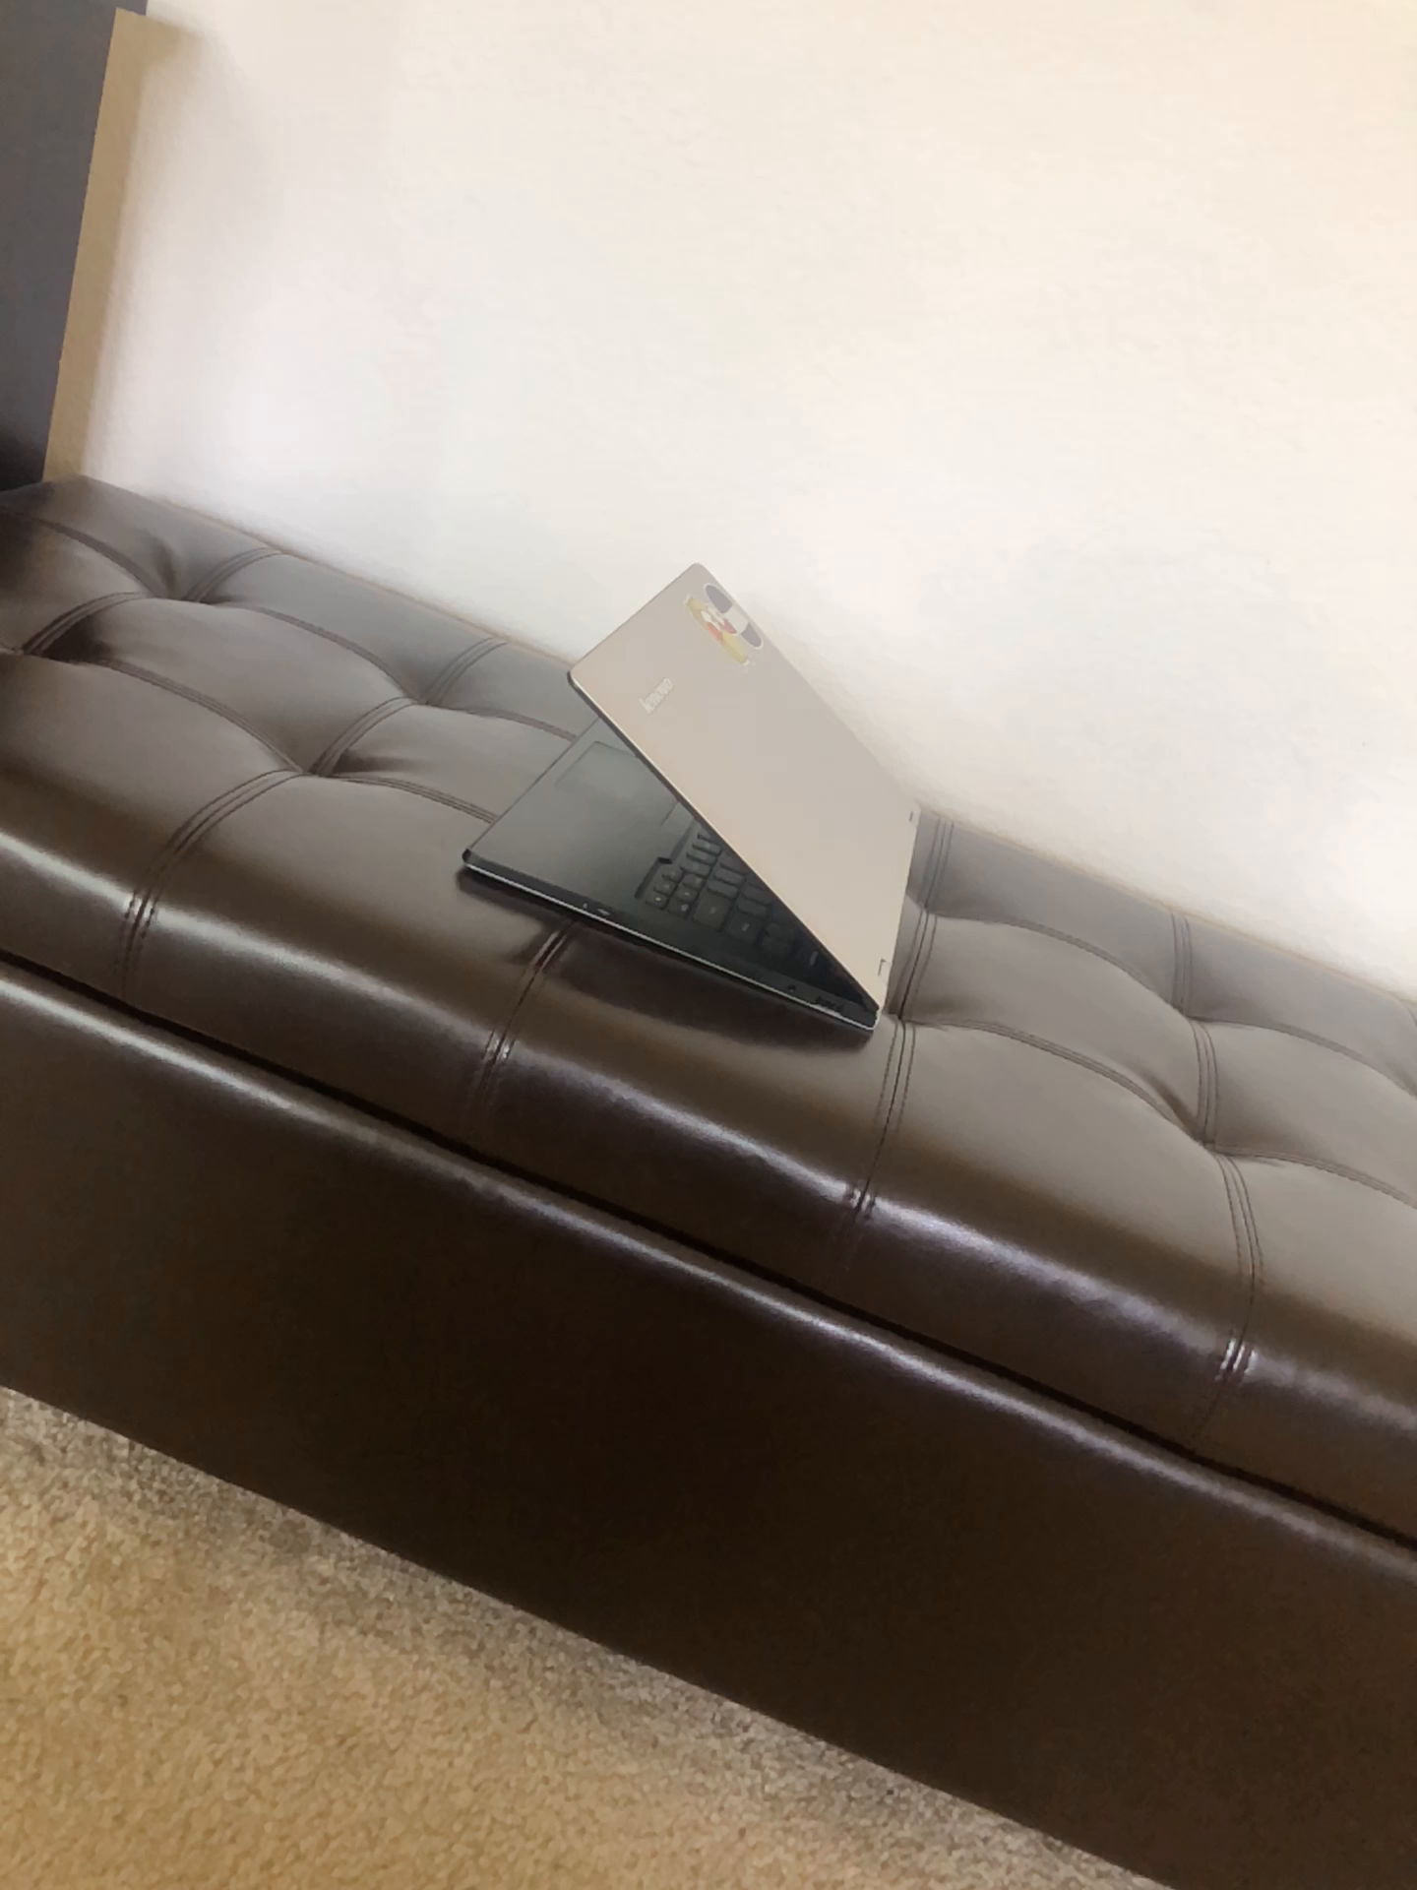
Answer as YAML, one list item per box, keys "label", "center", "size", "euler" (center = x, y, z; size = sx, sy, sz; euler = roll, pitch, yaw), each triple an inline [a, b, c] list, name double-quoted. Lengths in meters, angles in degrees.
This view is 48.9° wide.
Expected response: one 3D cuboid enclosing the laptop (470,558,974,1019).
- label: "laptop"
  center: [0.025, -0.100, 0.822]
  size: [0.197, 0.097, 0.294]
  euler: [21, 25, 2]
